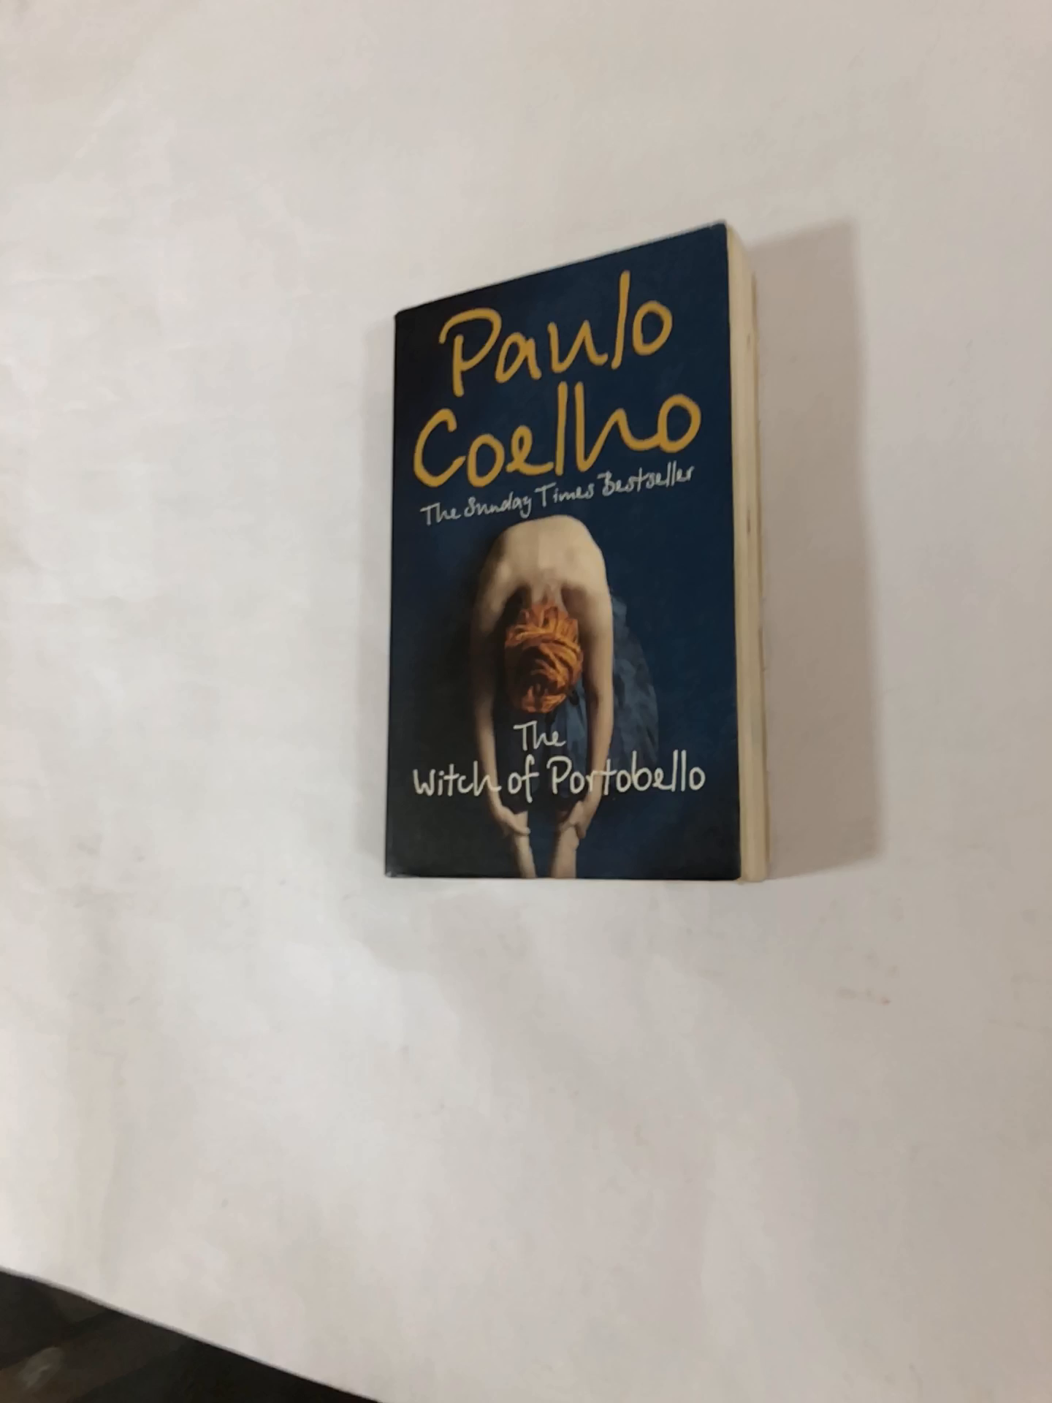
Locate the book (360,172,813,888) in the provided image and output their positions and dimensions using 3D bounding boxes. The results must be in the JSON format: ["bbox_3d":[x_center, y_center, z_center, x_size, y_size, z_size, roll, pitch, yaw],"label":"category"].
[{"bbox_3d":[0.013,-0.040,0.329,0.120,0.030,0.180,-5,81,28],"label":"book"}]
